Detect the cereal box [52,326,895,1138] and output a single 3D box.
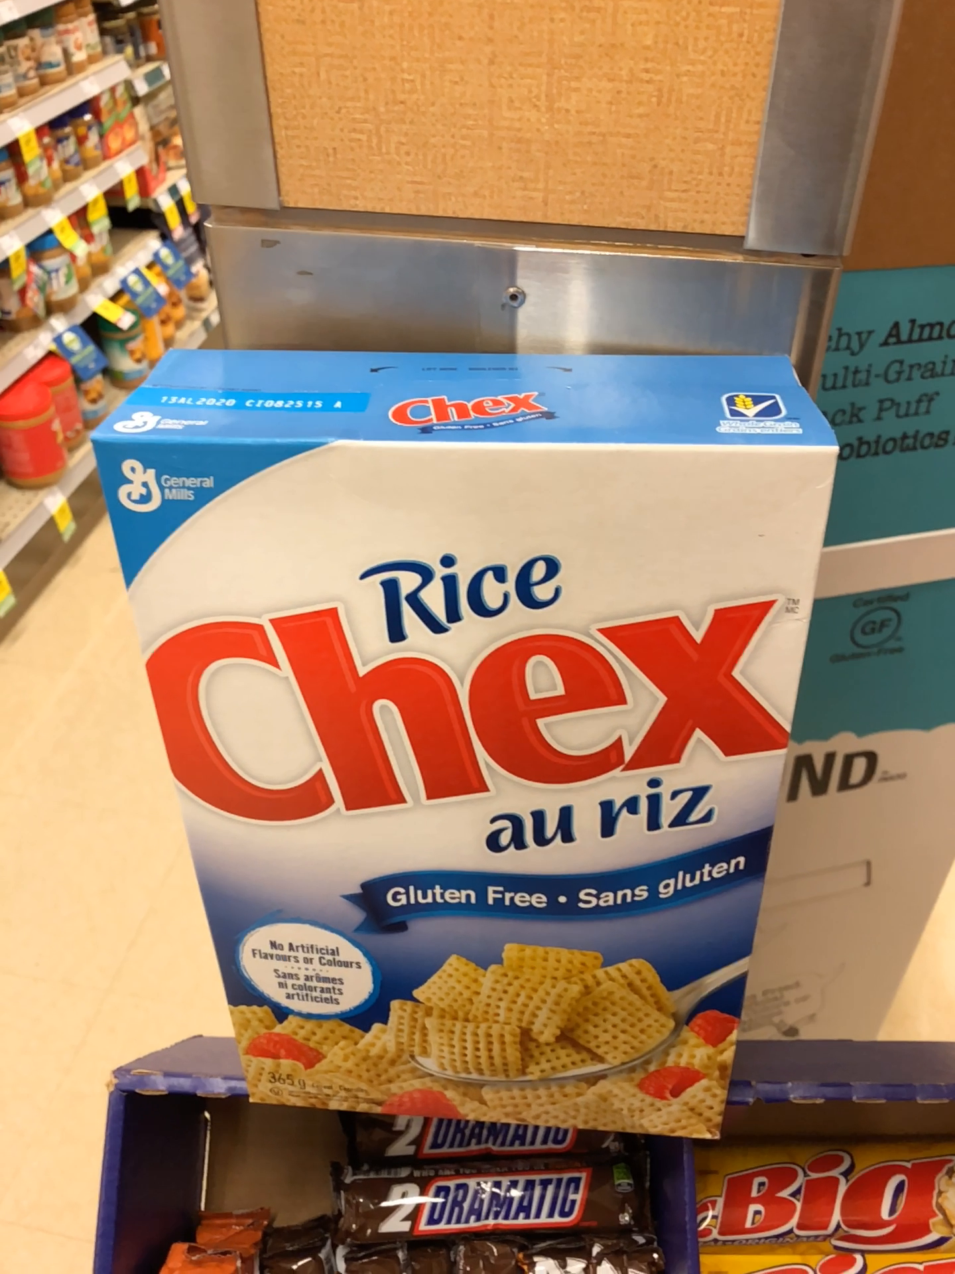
[{"bbox_3d":[-0.002,0.049,0.369,0.210,0.288,0.070,3,33,4],"label":"cereal box"}]
